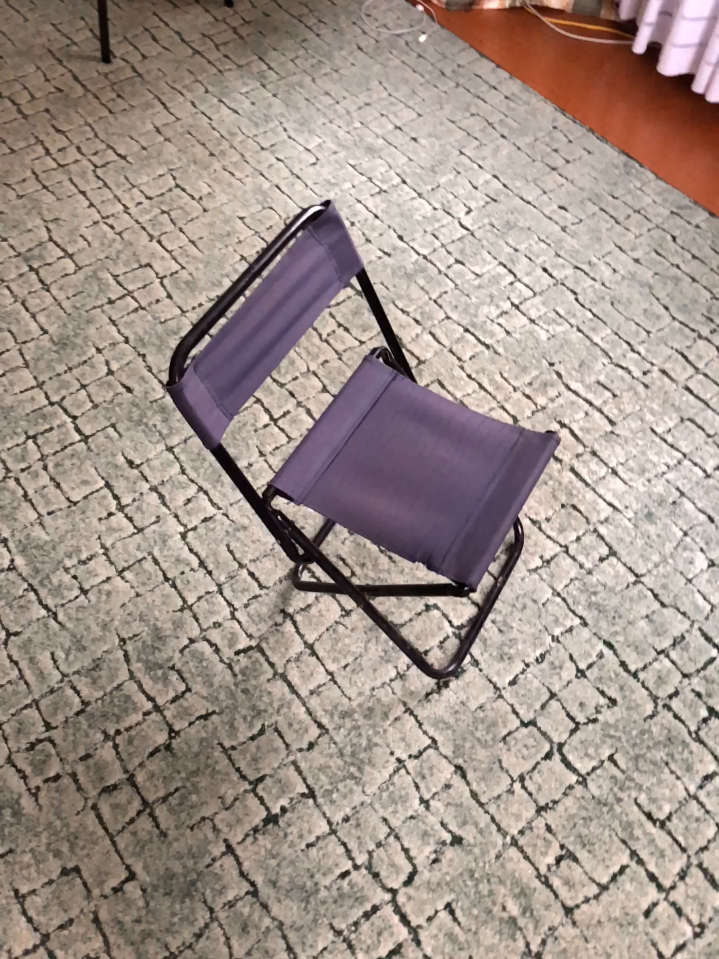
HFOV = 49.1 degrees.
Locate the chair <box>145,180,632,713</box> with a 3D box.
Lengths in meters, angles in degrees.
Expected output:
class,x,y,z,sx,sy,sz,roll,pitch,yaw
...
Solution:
class,x,y,z,sx,sy,sz,roll,pitch,yaw
chair,0.036,-0.013,1.055,0.398,0.537,0.343,27,61,15
